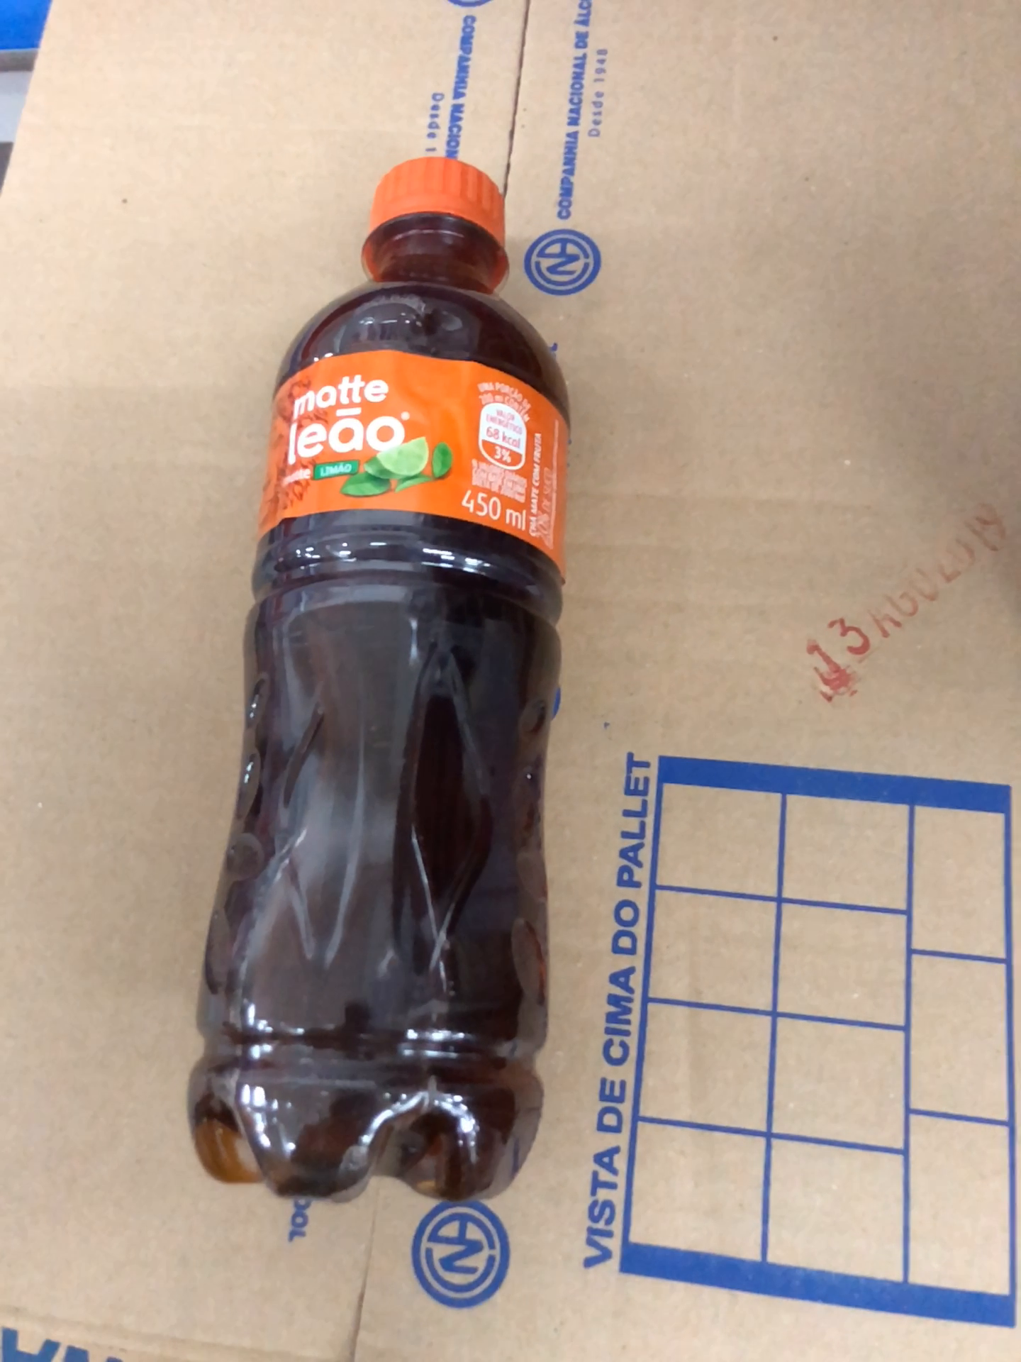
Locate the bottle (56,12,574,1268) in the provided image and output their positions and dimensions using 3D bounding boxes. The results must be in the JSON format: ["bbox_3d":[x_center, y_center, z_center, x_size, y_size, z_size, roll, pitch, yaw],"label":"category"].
[{"bbox_3d":[-0.025,-0.016,0.221,0.070,0.060,0.220,0,74,5],"label":"bottle"}]
